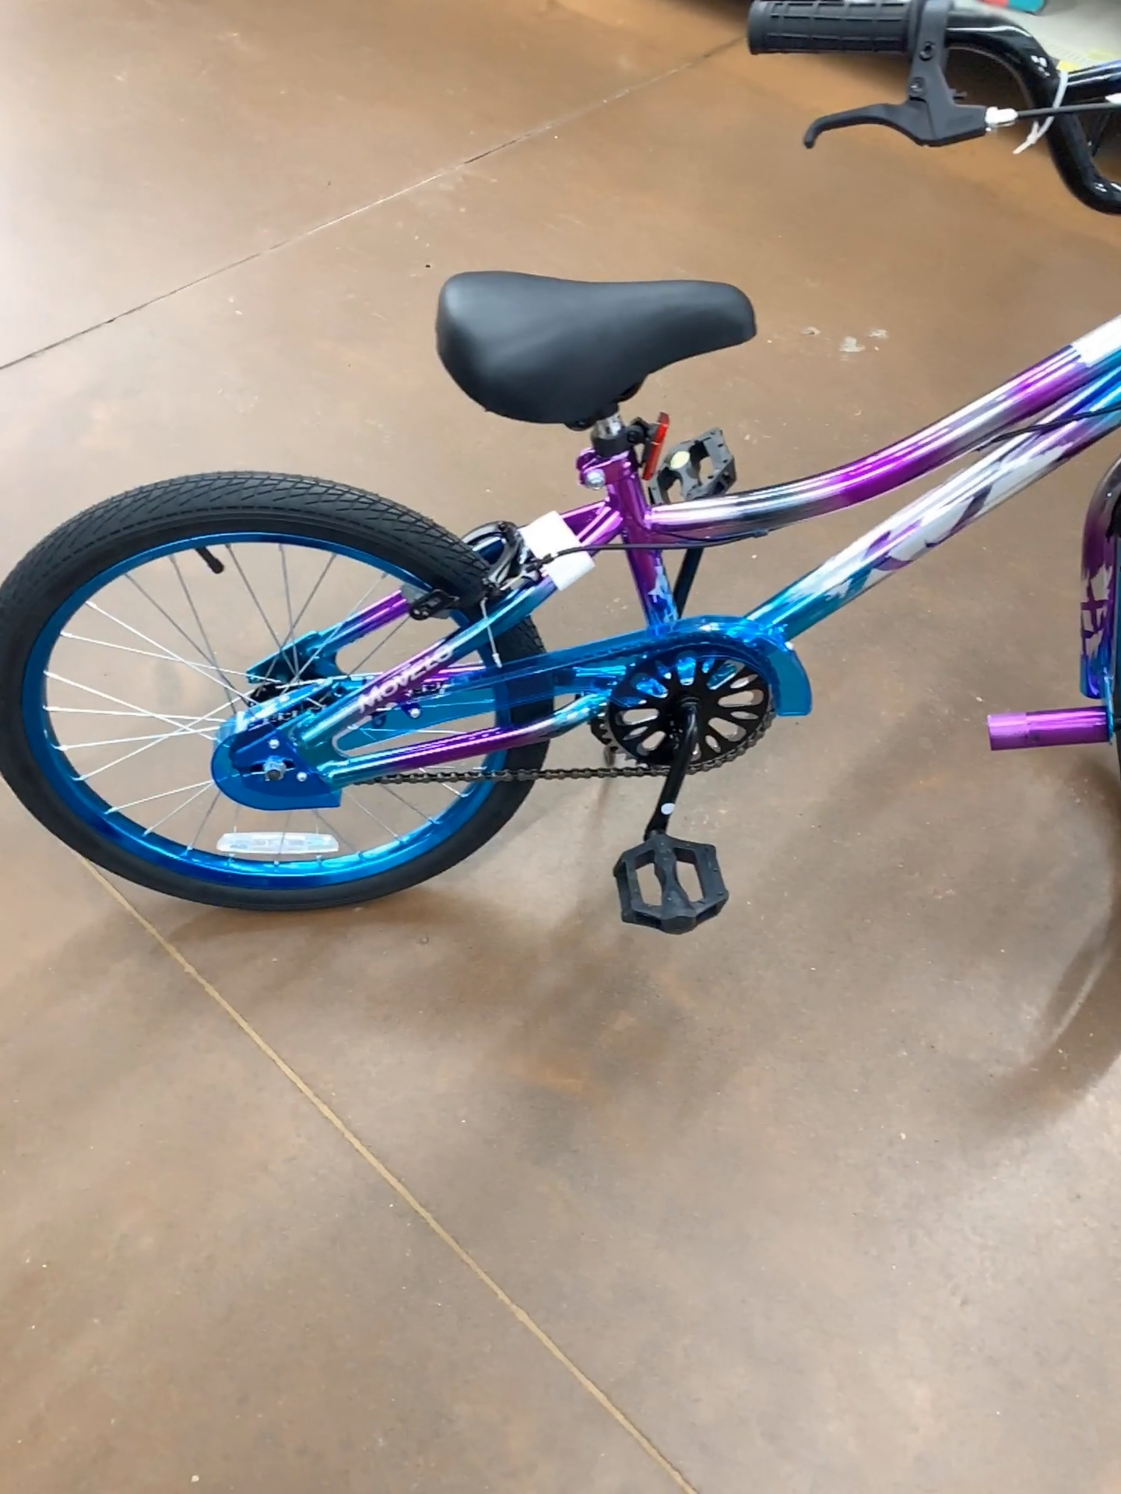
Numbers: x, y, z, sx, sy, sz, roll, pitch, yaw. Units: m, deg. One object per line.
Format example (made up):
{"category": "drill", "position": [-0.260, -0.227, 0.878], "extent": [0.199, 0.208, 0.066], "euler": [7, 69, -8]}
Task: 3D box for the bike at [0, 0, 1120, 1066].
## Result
{"category": "bike", "position": [-0.017, -0.239, 0.880], "extent": [0.934, 0.932, 0.580], "euler": [0, 52, -6]}
